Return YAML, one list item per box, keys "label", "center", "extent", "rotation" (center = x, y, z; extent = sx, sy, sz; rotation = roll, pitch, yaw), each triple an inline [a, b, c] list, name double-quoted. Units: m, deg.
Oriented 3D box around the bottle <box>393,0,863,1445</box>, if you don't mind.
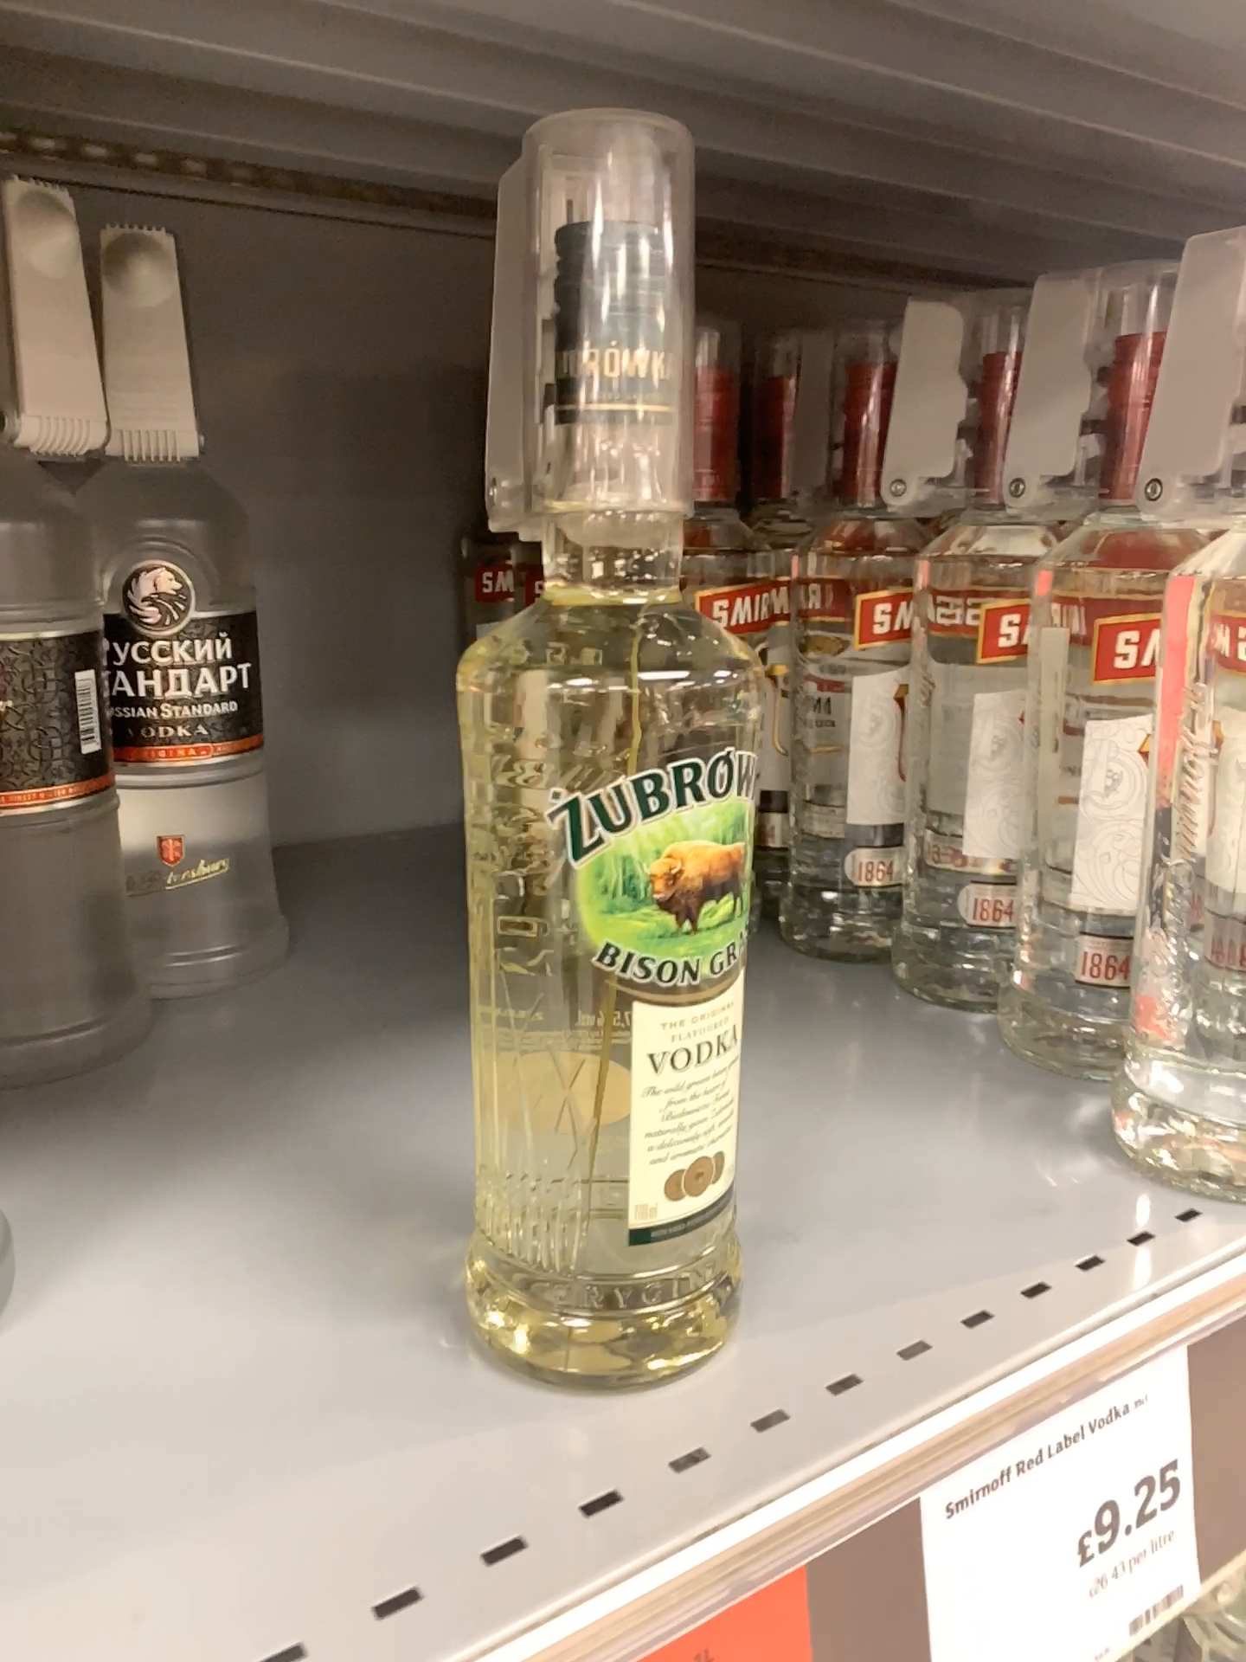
- label: "bottle"
  center: [-0.001, -0.017, 0.312]
  extent: [0.076, 0.303, 0.069]
  rotation: [-9, 16, -34]
